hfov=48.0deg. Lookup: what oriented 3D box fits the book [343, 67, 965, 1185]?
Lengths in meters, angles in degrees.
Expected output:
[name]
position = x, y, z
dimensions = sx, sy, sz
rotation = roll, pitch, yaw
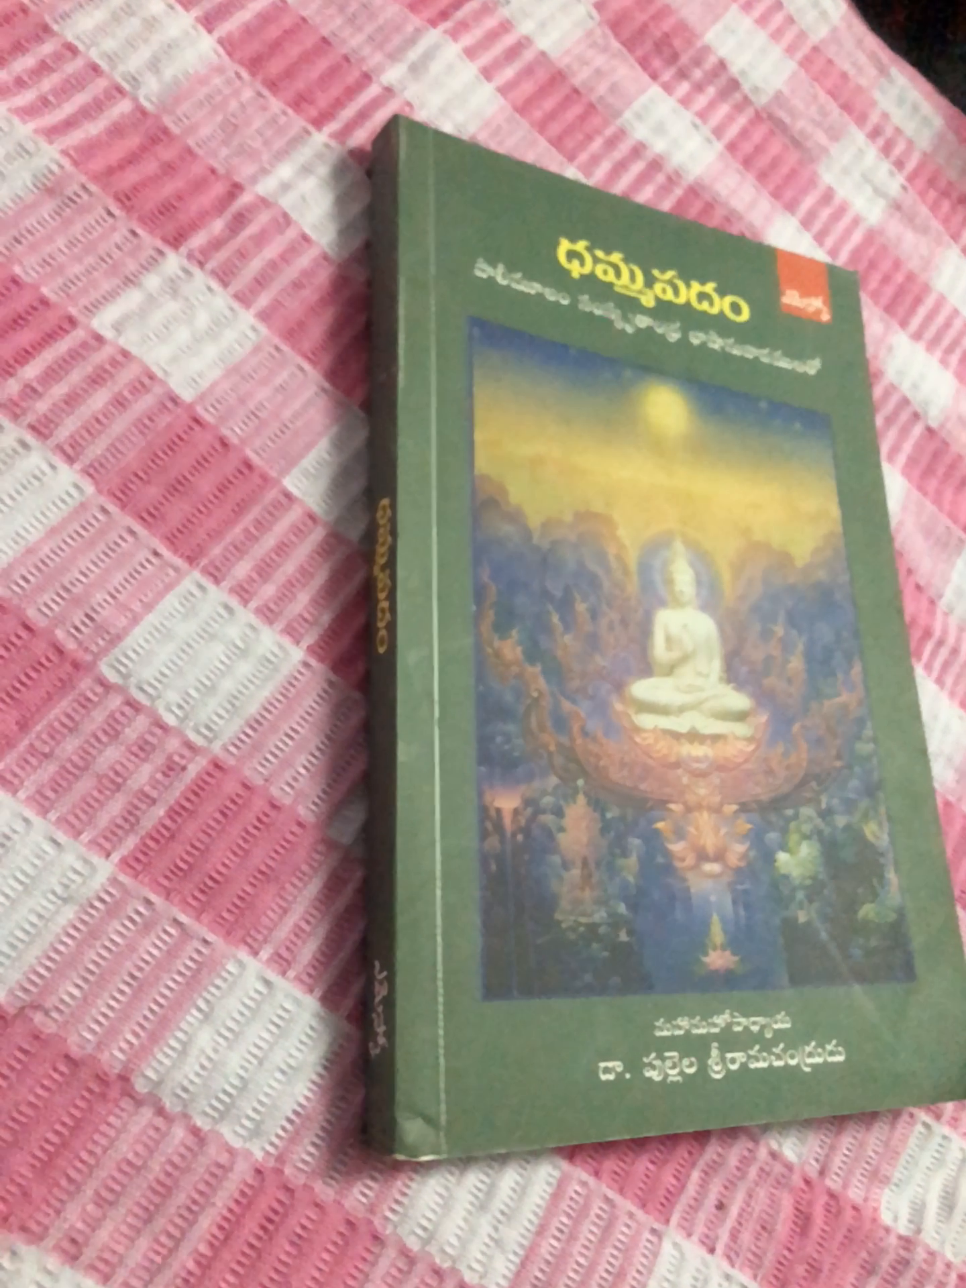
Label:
[book]
position = 0.041, -0.009, 0.225
dimensions = 0.141, 0.020, 0.200
rotation = 7, 70, -28
